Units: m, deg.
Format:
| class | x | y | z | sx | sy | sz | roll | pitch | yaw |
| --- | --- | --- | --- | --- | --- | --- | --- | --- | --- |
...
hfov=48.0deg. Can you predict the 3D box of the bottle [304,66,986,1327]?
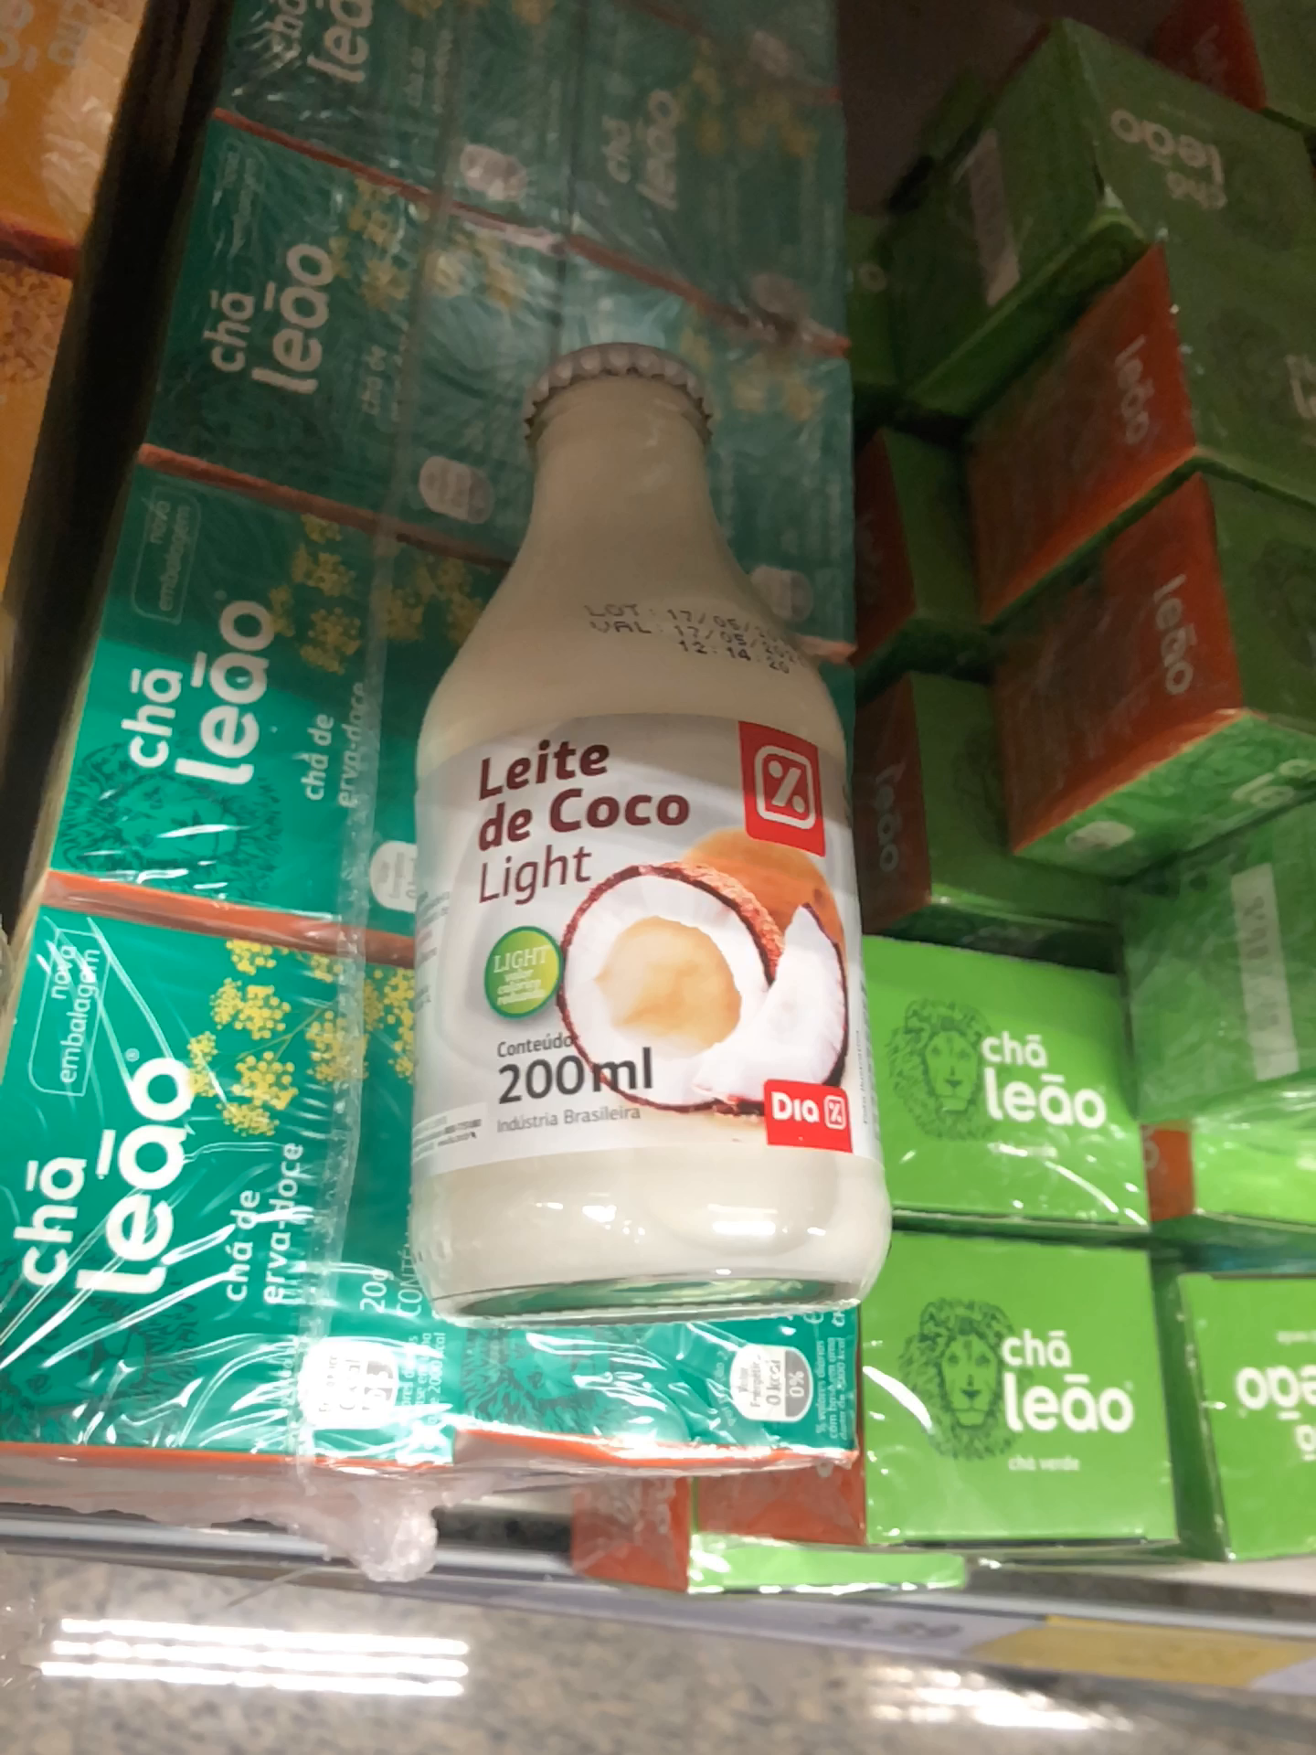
| class | x | y | z | sx | sy | sz | roll | pitch | yaw |
| --- | --- | --- | --- | --- | --- | --- | --- | --- | --- |
| bottle | -0.008 | -0.023 | 0.209 | 0.070 | 0.050 | 0.160 | 5 | 69 | -24 |
